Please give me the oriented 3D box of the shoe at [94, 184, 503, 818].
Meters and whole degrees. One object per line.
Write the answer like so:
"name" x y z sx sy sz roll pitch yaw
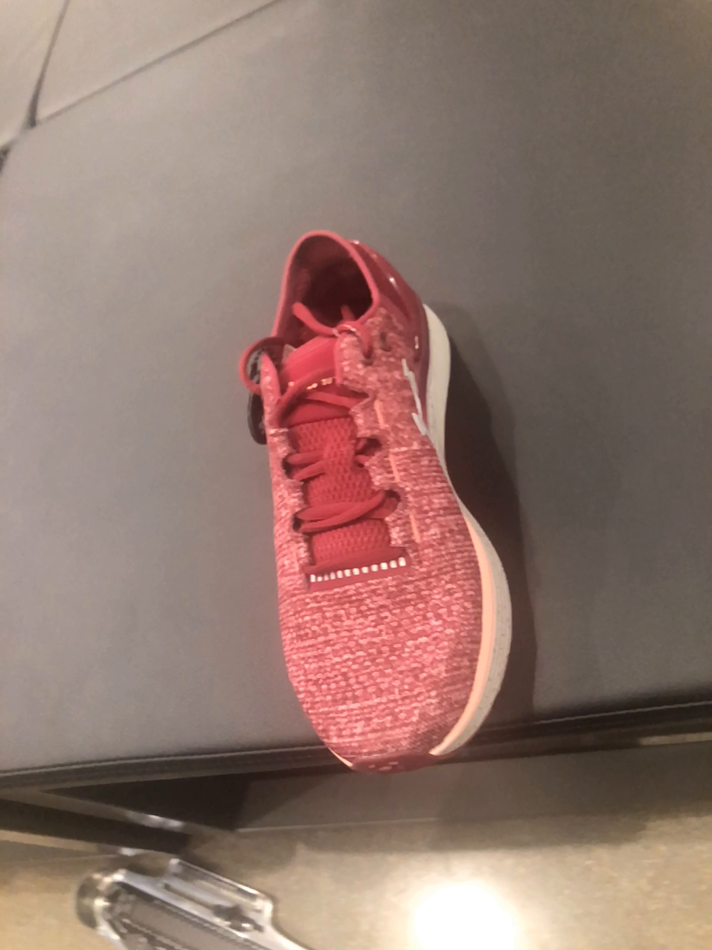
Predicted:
"shoe" -0.029 0.007 0.368 0.121 0.097 0.254 -19 54 18
